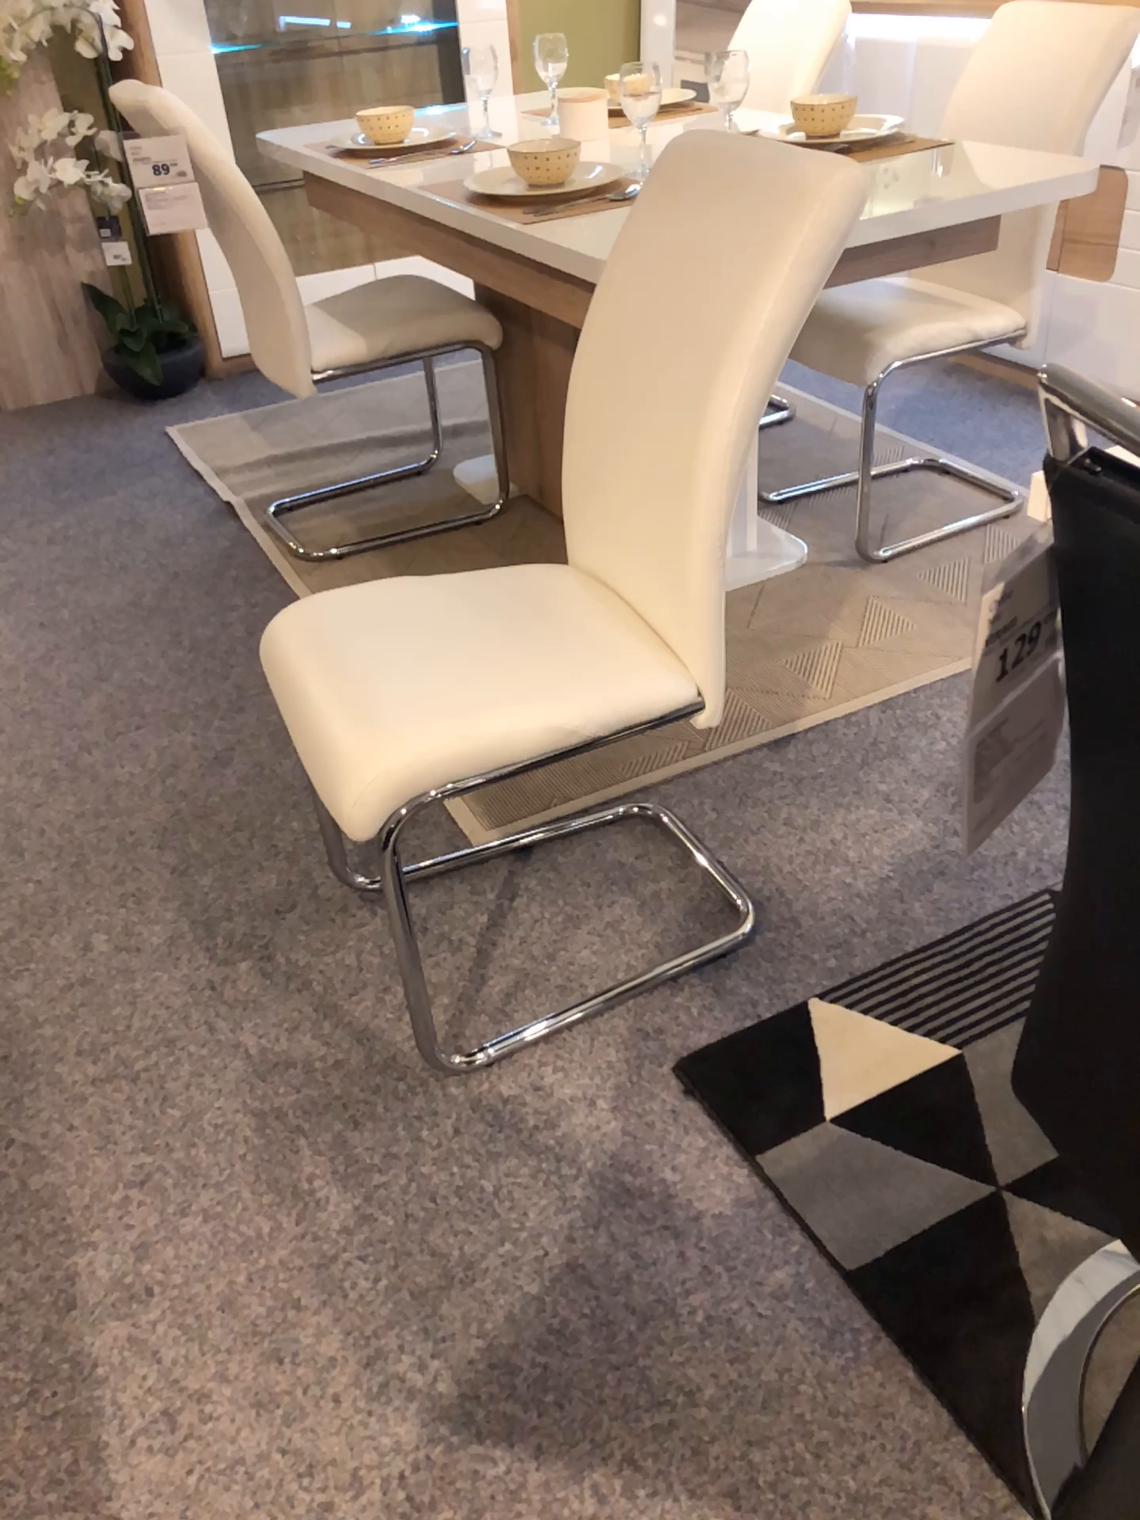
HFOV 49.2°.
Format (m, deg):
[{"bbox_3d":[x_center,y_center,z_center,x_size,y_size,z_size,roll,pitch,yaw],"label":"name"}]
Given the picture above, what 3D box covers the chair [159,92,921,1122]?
[{"bbox_3d":[-0.030,-0.186,1.404,0.551,0.925,0.502,-17,35,-19],"label":"chair"}]
